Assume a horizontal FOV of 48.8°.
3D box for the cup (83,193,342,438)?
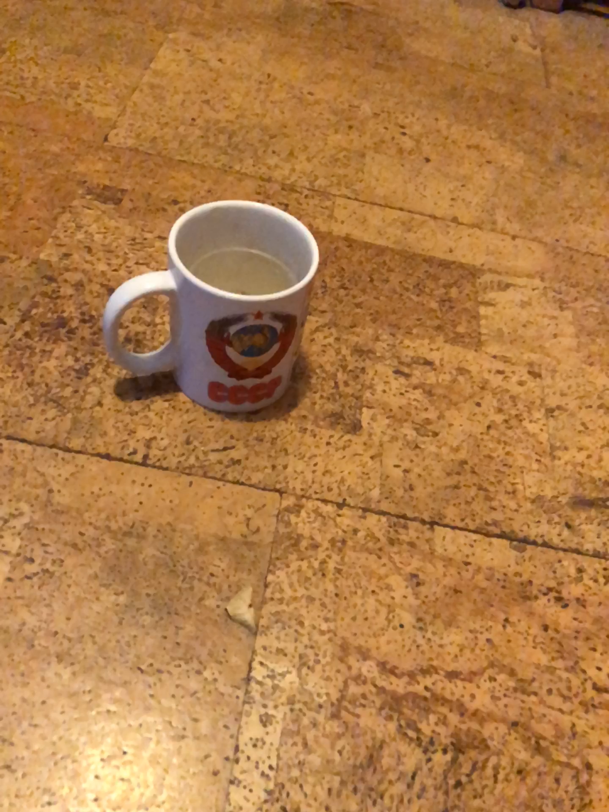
[{"bbox_3d":[-0.056,-0.053,0.388,0.119,0.099,0.083,-9,55,-17],"label":"cup"}]
